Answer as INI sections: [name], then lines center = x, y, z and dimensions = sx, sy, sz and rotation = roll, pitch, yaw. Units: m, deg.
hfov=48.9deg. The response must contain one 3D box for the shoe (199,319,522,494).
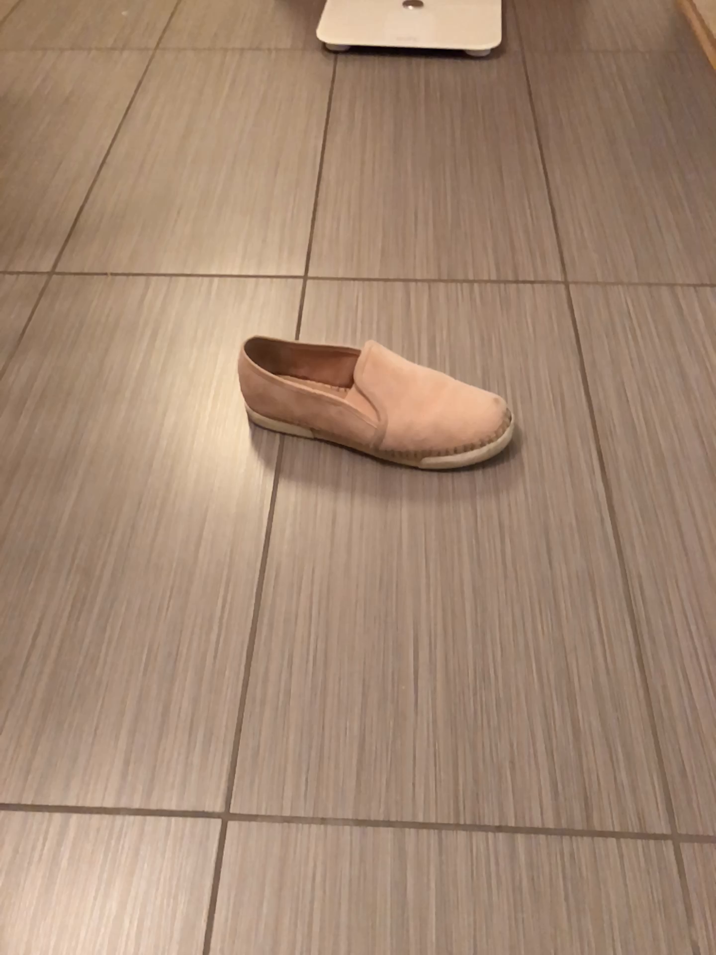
[shoe]
center = 0.006, -0.068, 0.725
dimensions = 0.270, 0.070, 0.111
rotation = 8, 51, 8
